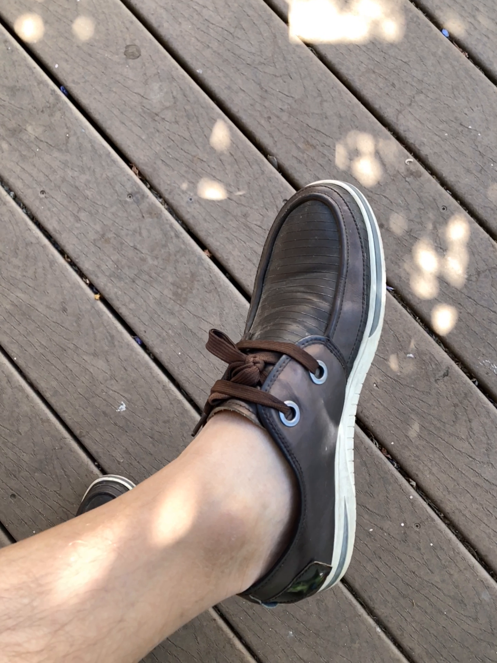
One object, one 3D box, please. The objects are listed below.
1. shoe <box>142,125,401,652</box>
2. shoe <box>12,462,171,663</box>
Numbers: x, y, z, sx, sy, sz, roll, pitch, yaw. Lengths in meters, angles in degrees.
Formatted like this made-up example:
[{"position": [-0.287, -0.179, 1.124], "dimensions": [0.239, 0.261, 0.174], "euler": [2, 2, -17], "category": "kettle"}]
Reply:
[{"position": [0.014, 0.027, 0.325], "dimensions": [0.090, 0.083, 0.255], "euler": [6, 88, 47], "category": "shoe"}, {"position": [-0.166, 0.284, 0.604], "dimensions": [0.103, 0.099, 0.245], "euler": [9, 88, 3], "category": "shoe"}]
